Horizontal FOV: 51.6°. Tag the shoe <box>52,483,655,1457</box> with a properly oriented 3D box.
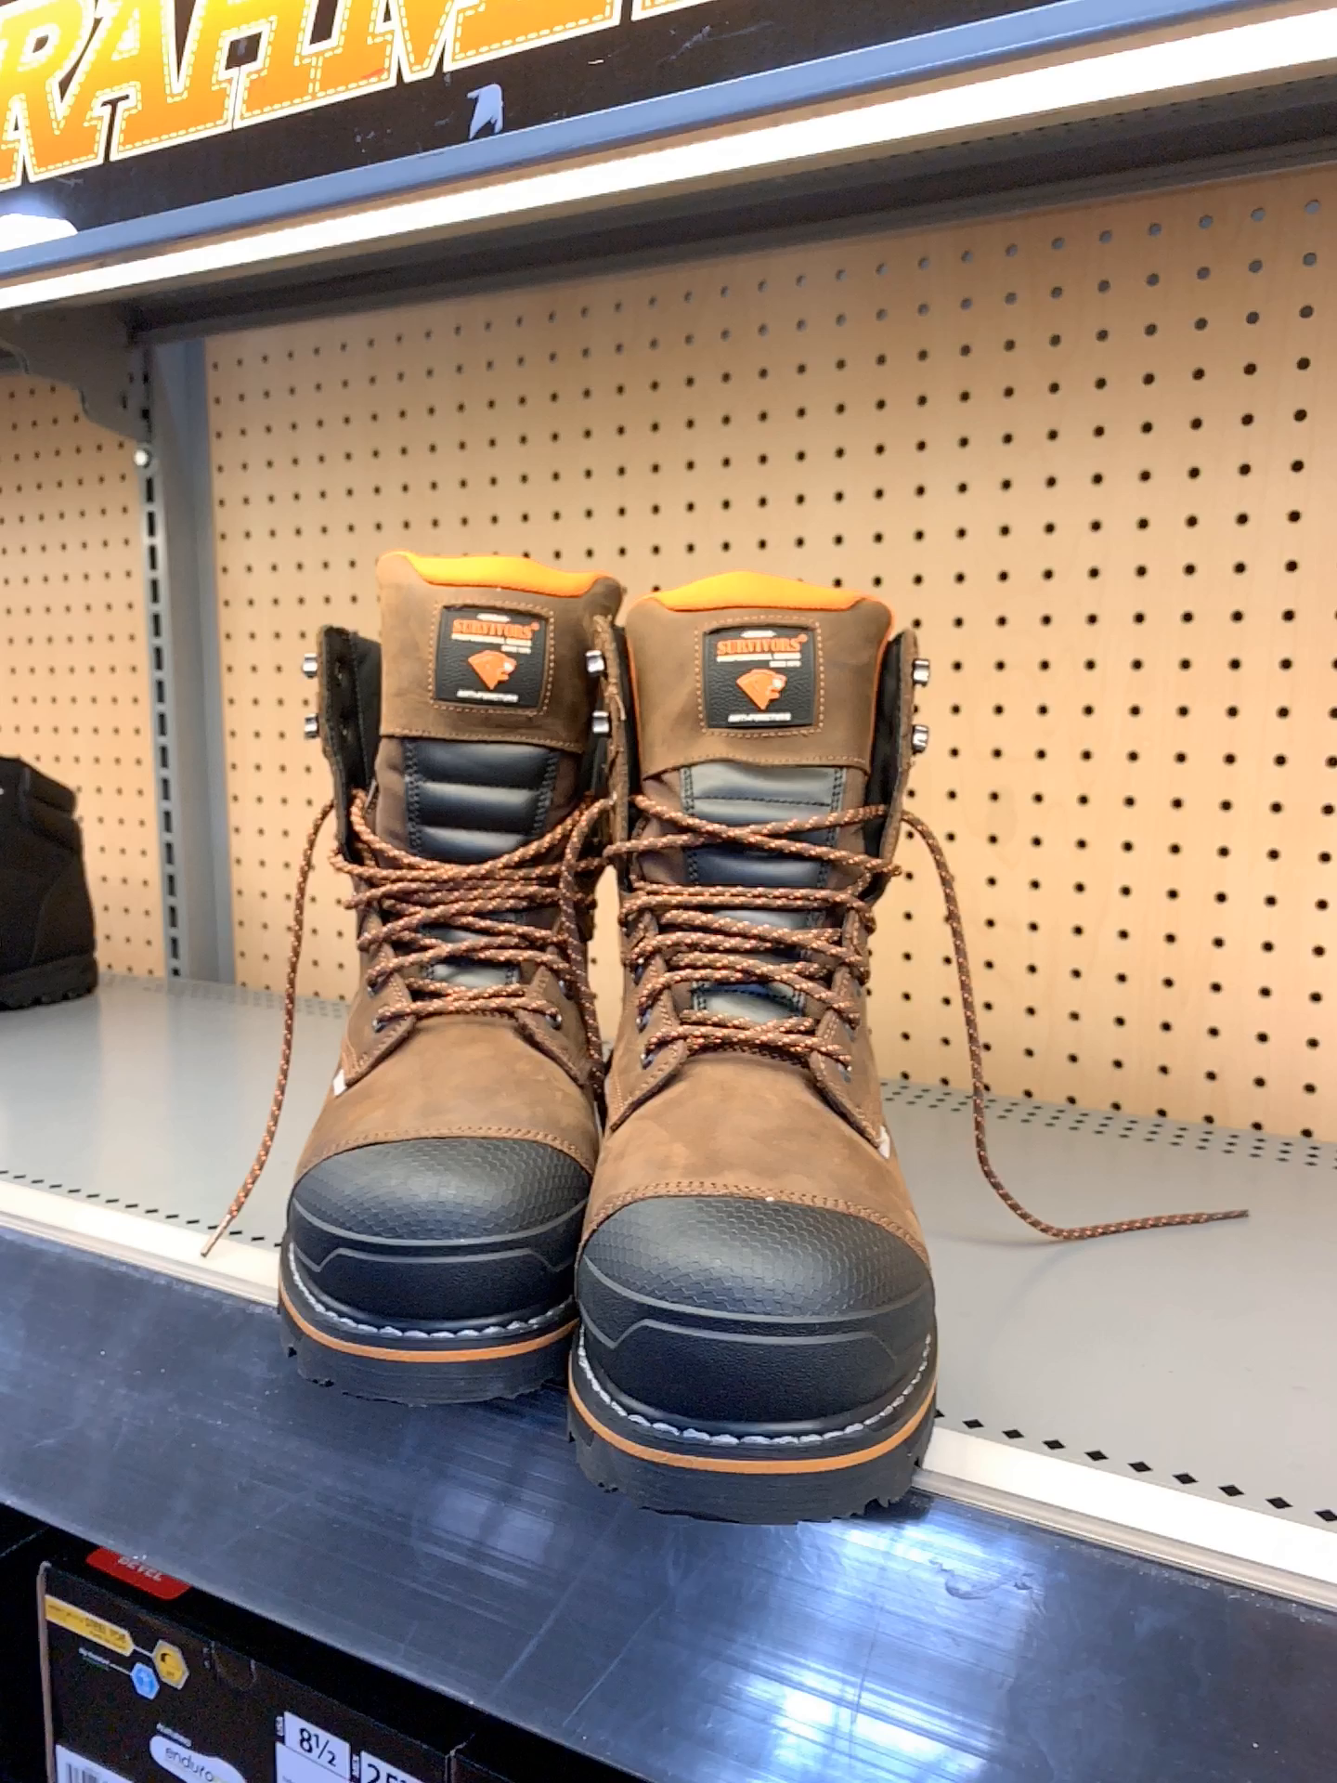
[{"bbox_3d":[-0.088,0.003,0.549,0.136,0.280,0.314,1,9,5],"label":"shoe"}]

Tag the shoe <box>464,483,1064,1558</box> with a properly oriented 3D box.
[{"bbox_3d":[0.030,0.012,0.486,0.134,0.260,0.319,0,9,3],"label":"shoe"}]

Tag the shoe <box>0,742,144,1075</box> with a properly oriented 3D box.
[{"bbox_3d":[-0.506,-0.005,0.910,0.146,0.170,0.258,5,10,29],"label":"shoe"}]
